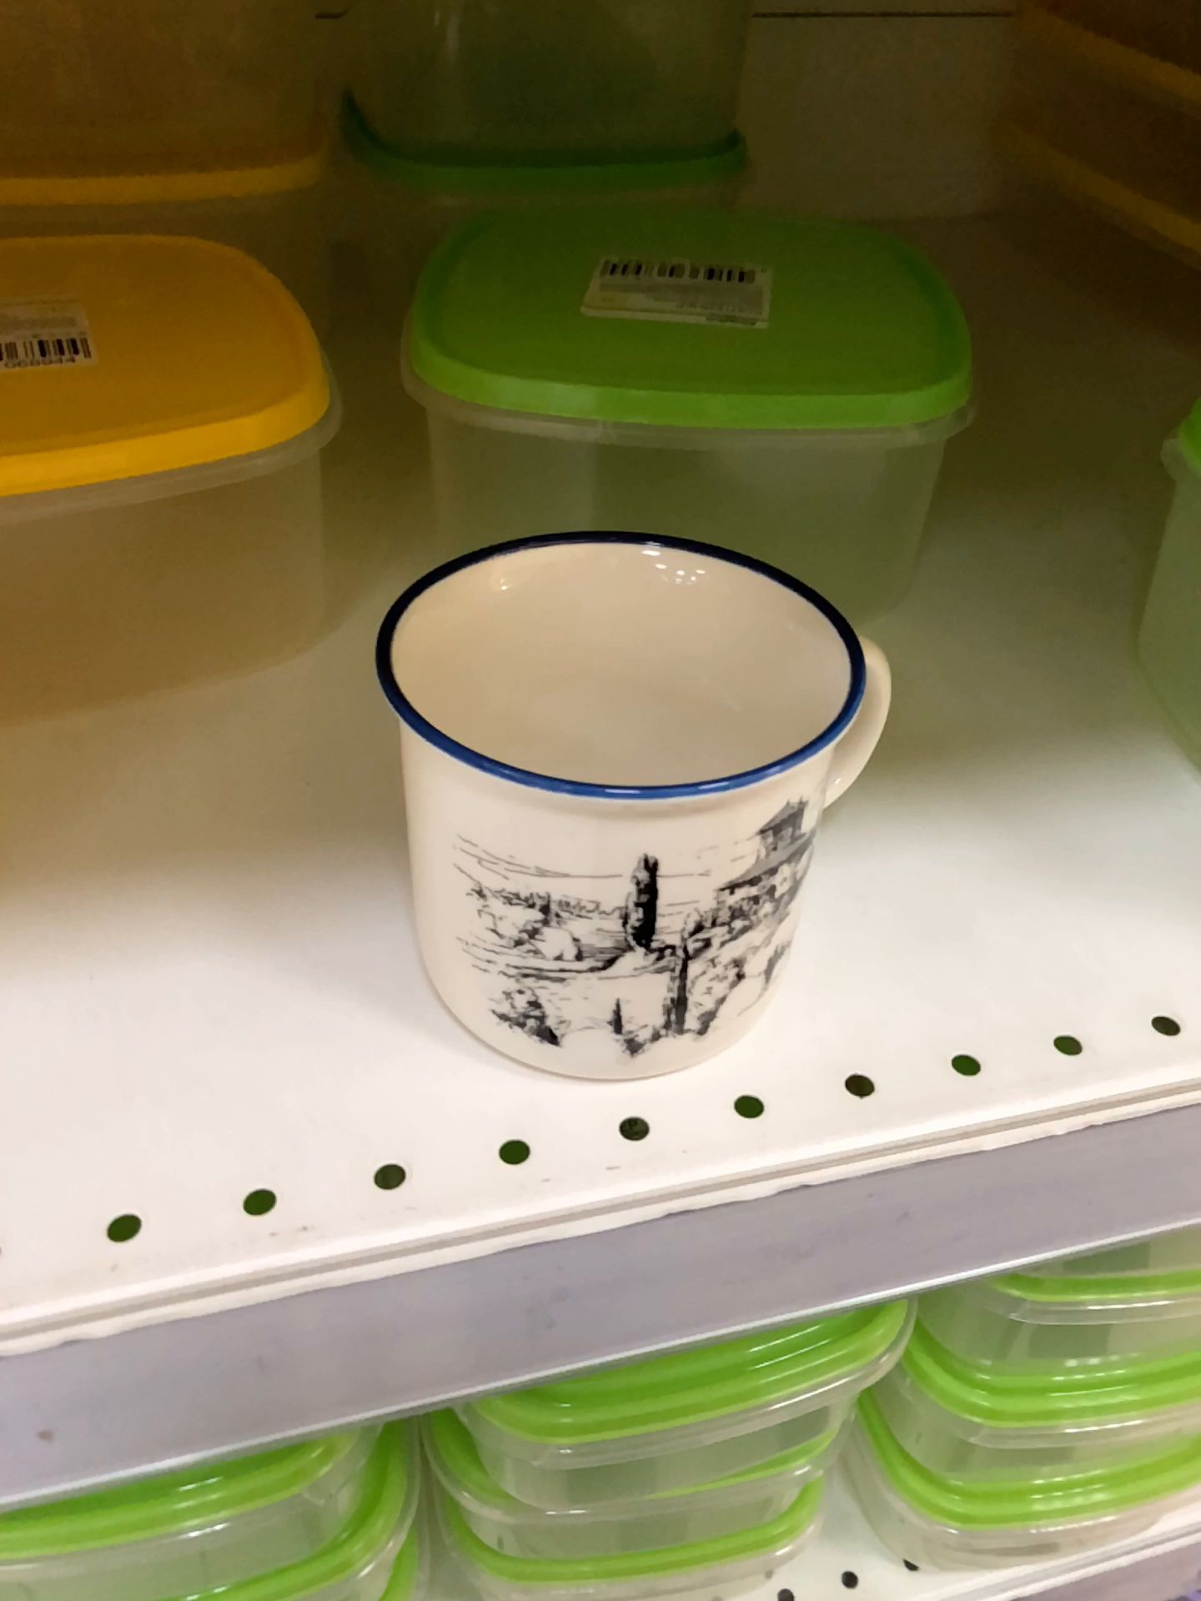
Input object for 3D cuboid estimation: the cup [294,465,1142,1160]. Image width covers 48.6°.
[{"bbox_3d":[0.017,-0.007,0.277,0.130,0.068,0.103,-14,43,-19],"label":"cup"}]
